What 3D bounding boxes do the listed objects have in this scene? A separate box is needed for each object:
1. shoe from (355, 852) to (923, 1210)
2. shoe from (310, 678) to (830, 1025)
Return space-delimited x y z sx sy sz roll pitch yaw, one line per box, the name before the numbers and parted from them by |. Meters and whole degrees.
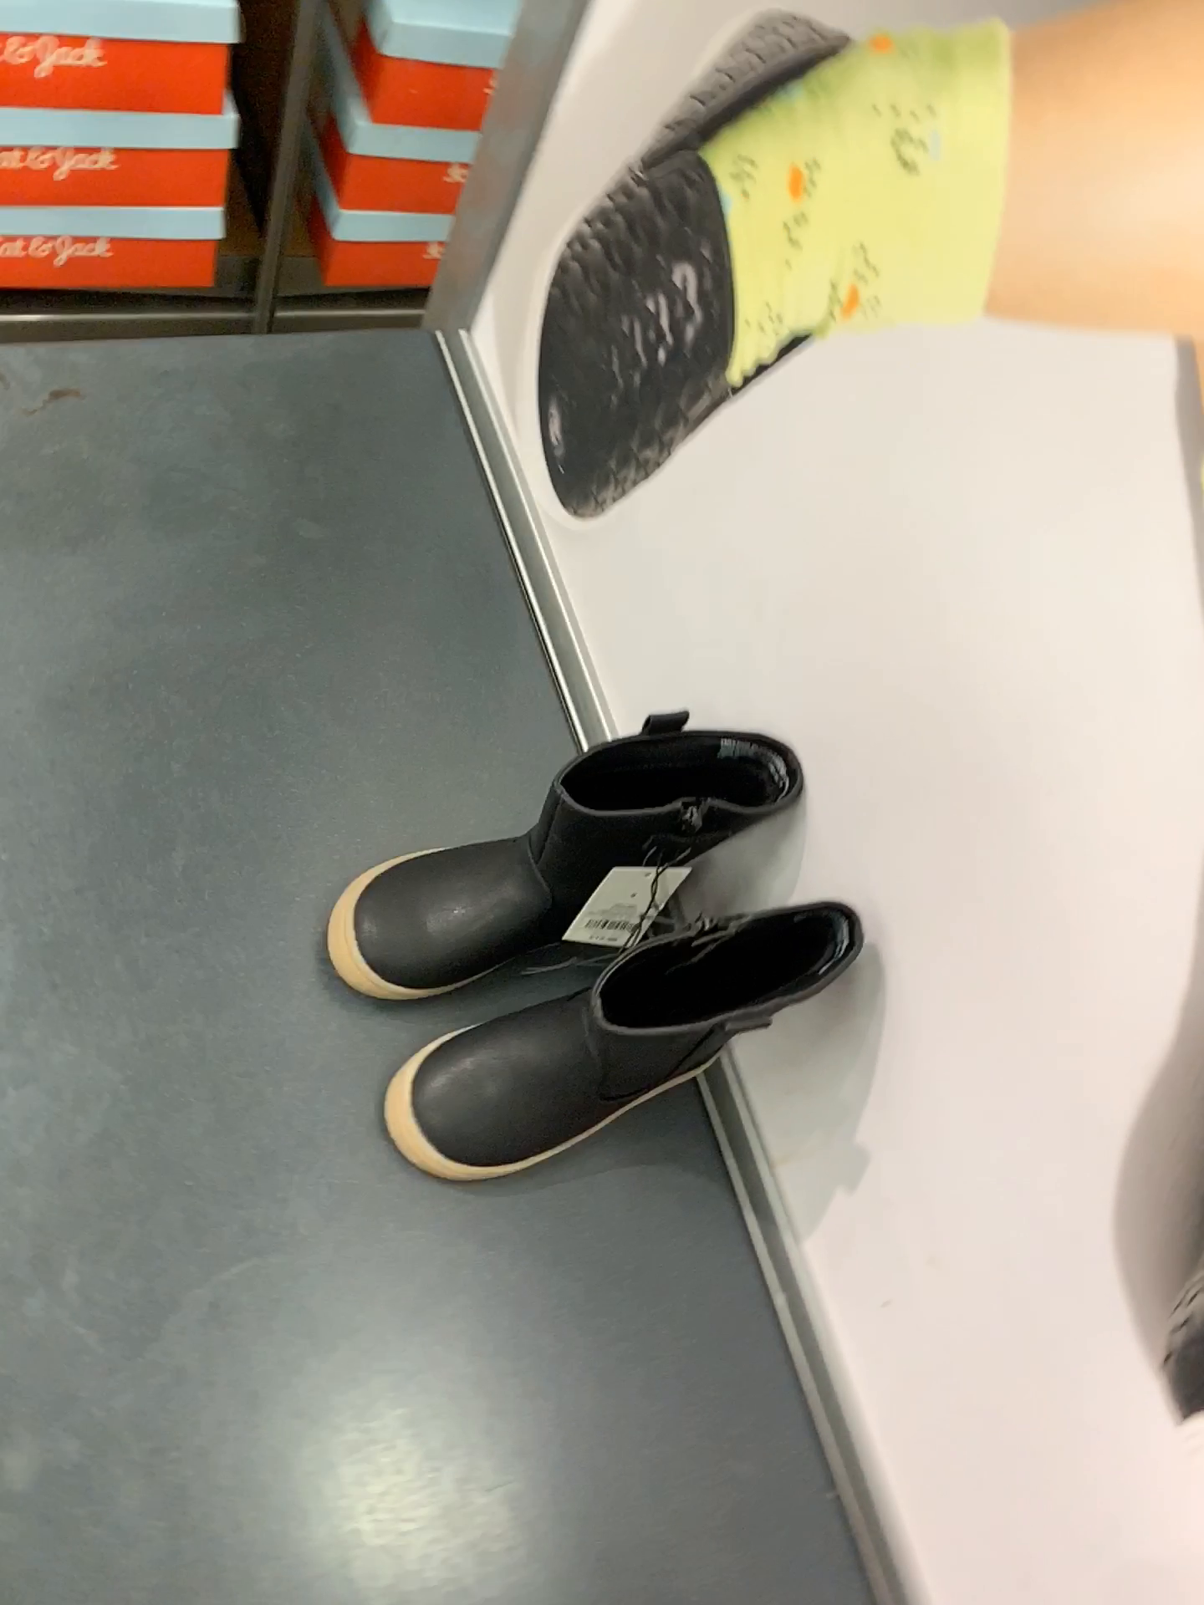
shoe | 0.004 0.112 0.576 0.190 0.200 0.080 -12 73 -25
shoe | -0.028 0.029 0.613 0.190 0.200 0.080 -10 72 -25
